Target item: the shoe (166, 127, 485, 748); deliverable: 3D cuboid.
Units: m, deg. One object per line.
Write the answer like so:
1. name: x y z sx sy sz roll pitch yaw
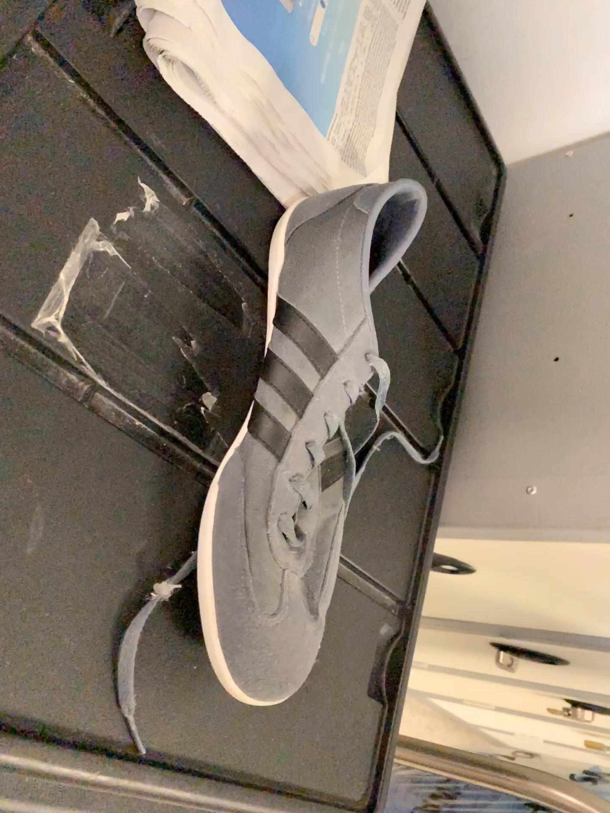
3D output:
1. shoe: 0.026 0.014 0.322 0.114 0.077 0.268 30 62 -46
